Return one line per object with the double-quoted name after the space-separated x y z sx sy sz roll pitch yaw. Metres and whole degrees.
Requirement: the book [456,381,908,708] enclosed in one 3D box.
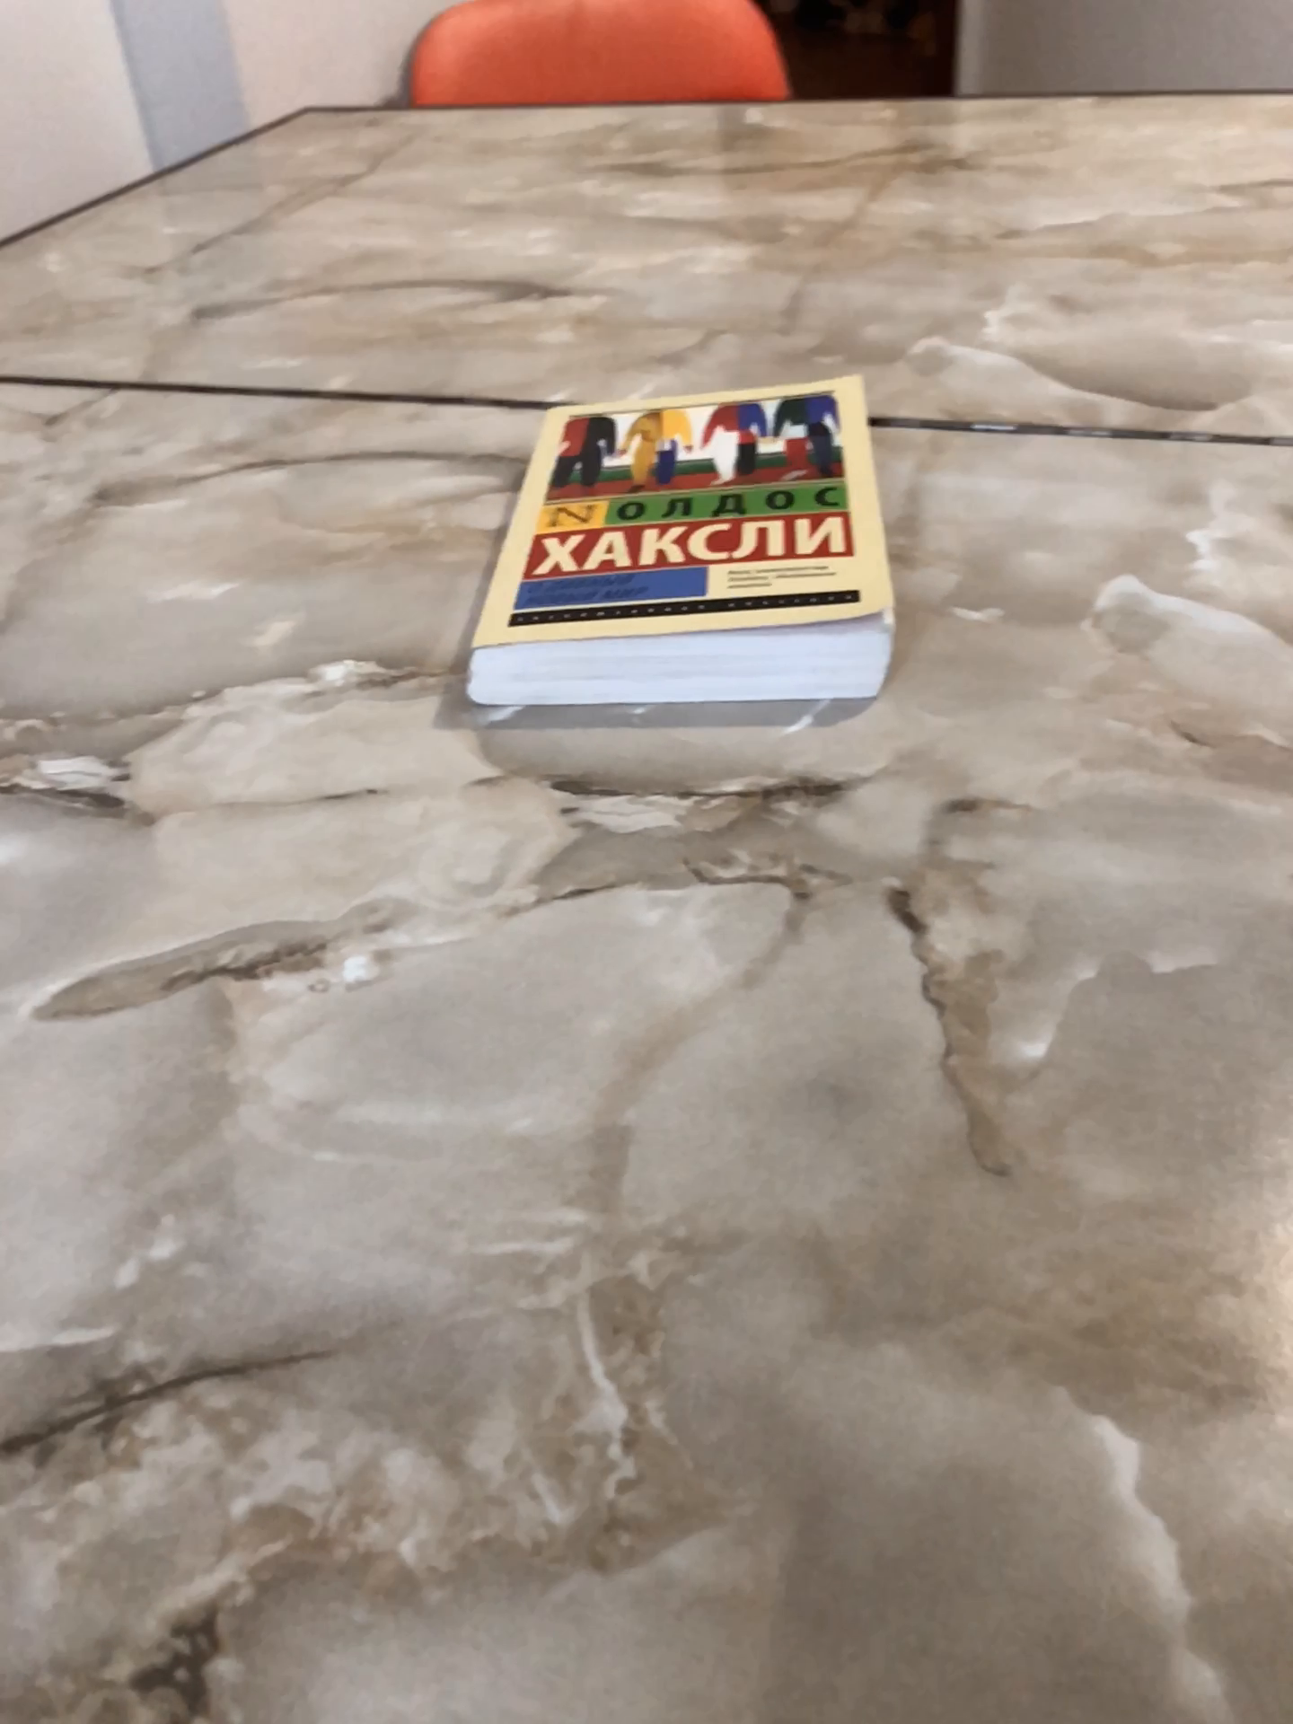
0.015 -0.109 0.458 0.120 0.020 0.185 -1 38 5 "book"
